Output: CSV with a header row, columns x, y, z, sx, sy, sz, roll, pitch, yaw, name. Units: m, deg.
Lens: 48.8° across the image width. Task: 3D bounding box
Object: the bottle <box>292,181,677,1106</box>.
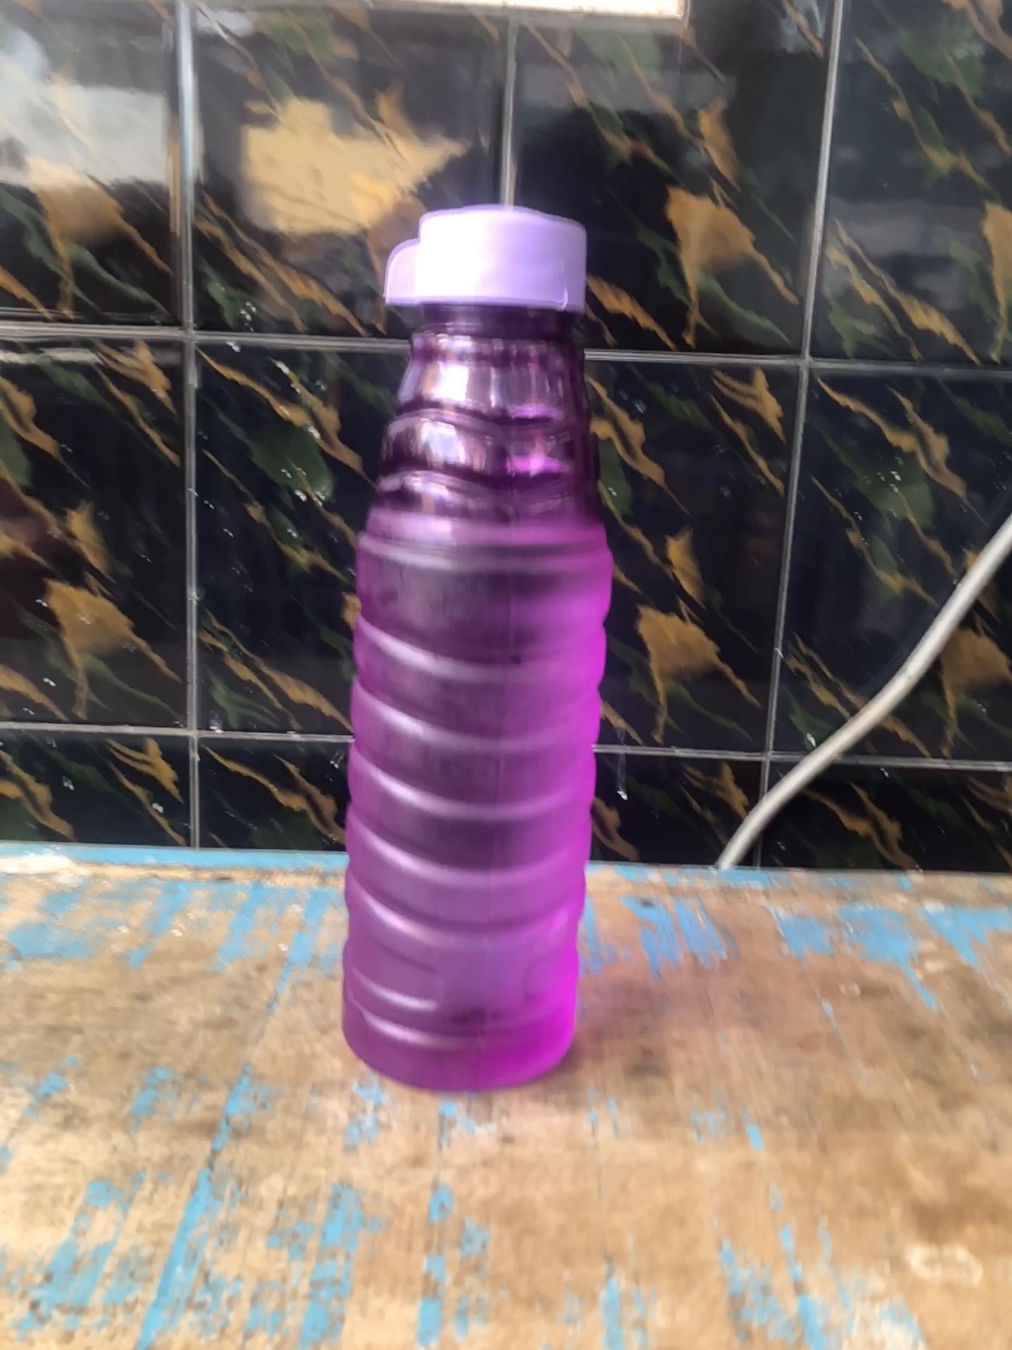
x,y,z,sx,sy,sz,roll,pitch,yaw,name
-0.005,-0.009,0.330,0.090,0.239,0.080,5,13,10,bottle
